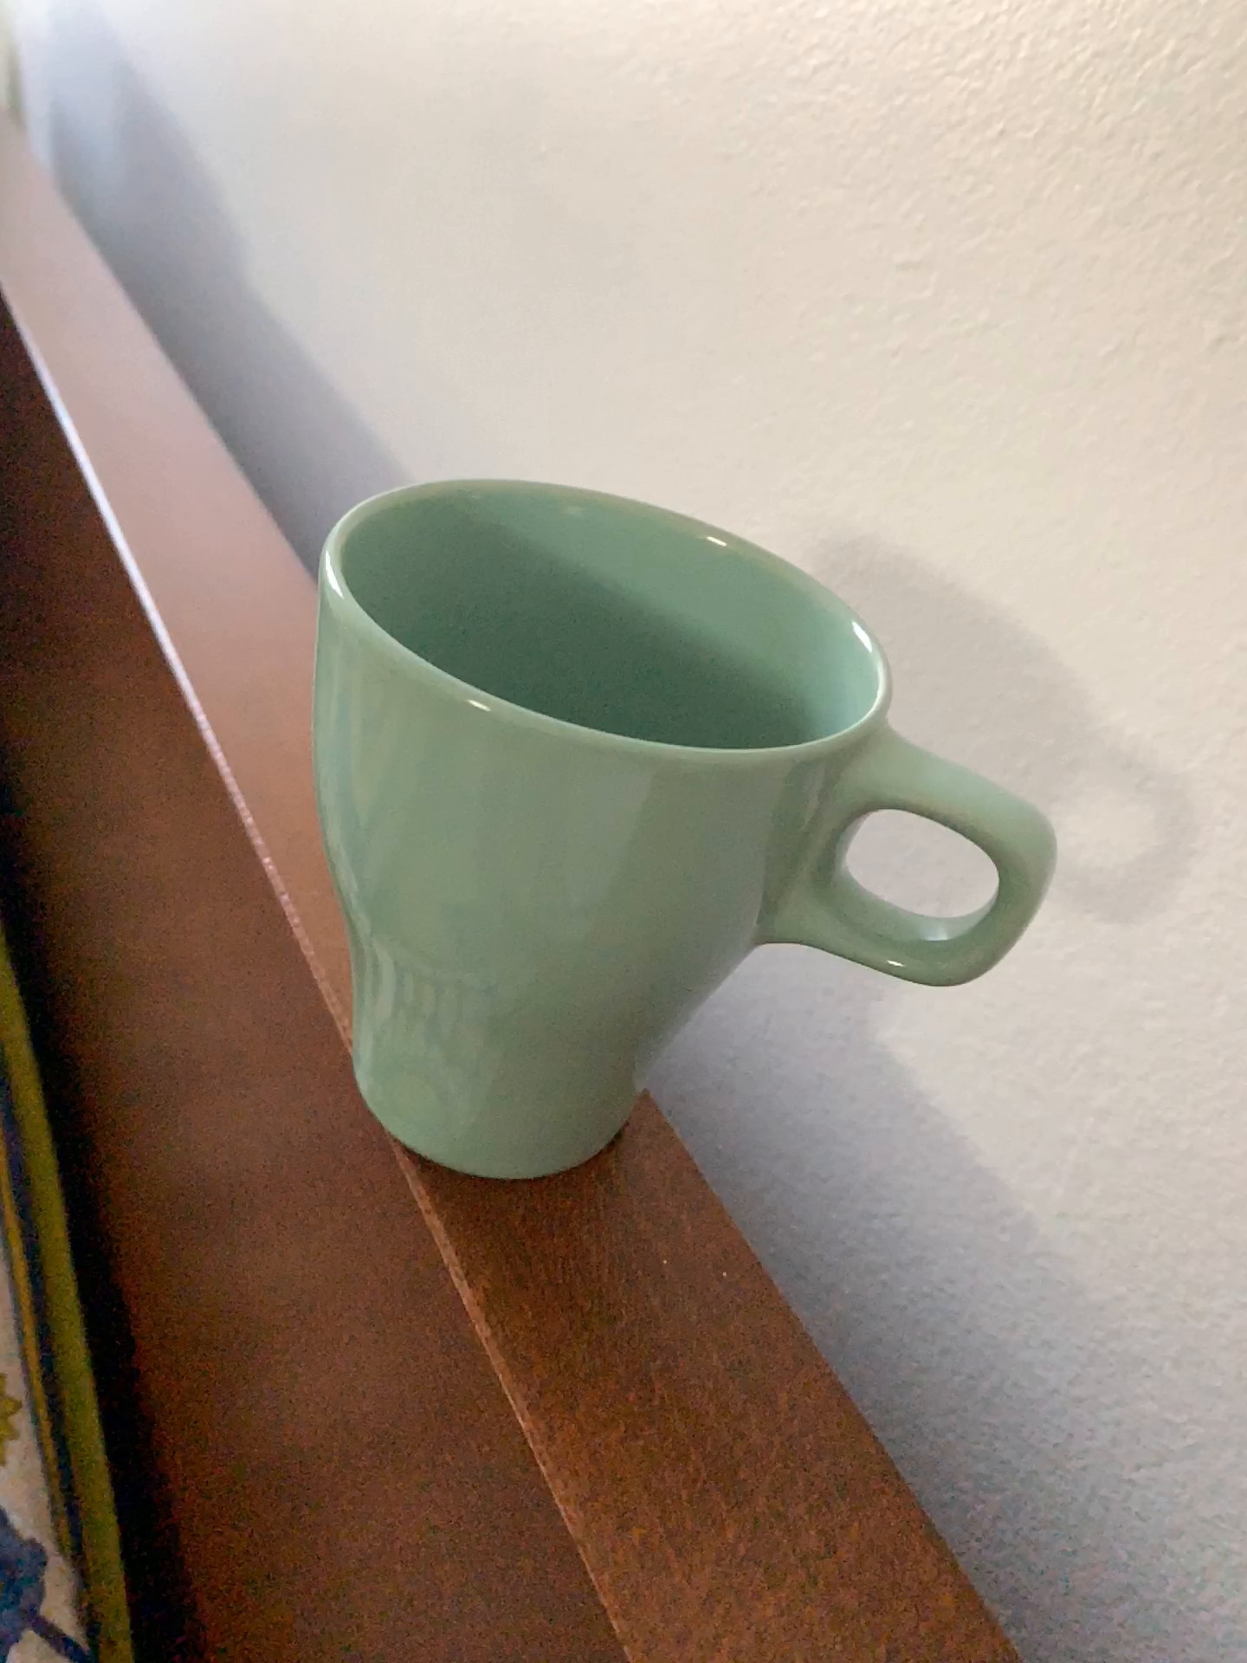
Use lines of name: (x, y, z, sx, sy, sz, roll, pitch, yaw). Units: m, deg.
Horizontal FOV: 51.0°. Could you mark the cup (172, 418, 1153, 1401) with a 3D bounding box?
cup: (0.004, 0.006, 0.217, 0.123, 0.091, 0.082, 25, 37, 12)
